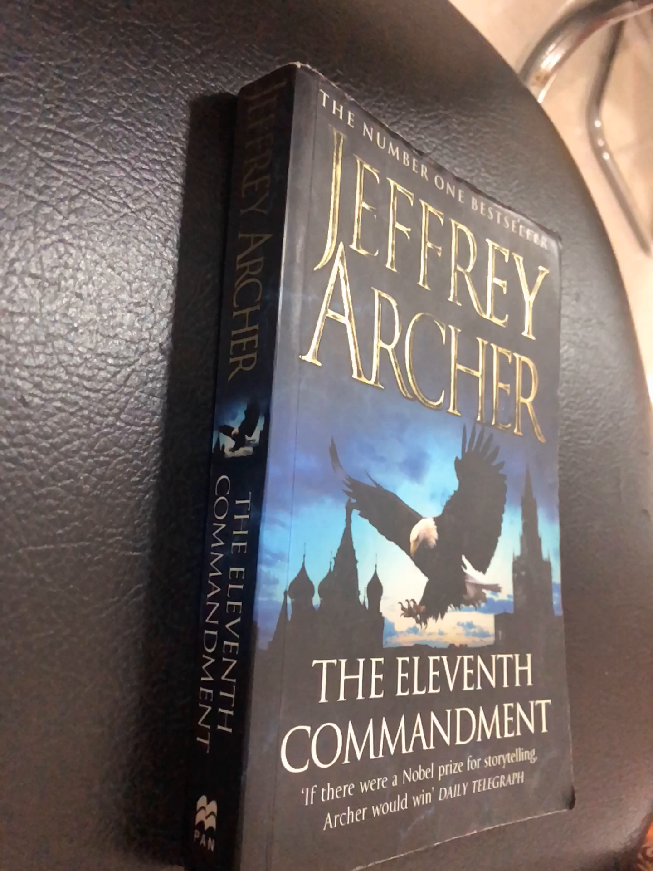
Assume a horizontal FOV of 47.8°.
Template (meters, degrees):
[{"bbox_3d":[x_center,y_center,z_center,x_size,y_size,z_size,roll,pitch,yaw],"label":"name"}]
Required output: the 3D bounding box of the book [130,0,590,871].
[{"bbox_3d":[0.026,0.002,0.206,0.131,0.040,0.200,16,74,-44],"label":"book"}]
